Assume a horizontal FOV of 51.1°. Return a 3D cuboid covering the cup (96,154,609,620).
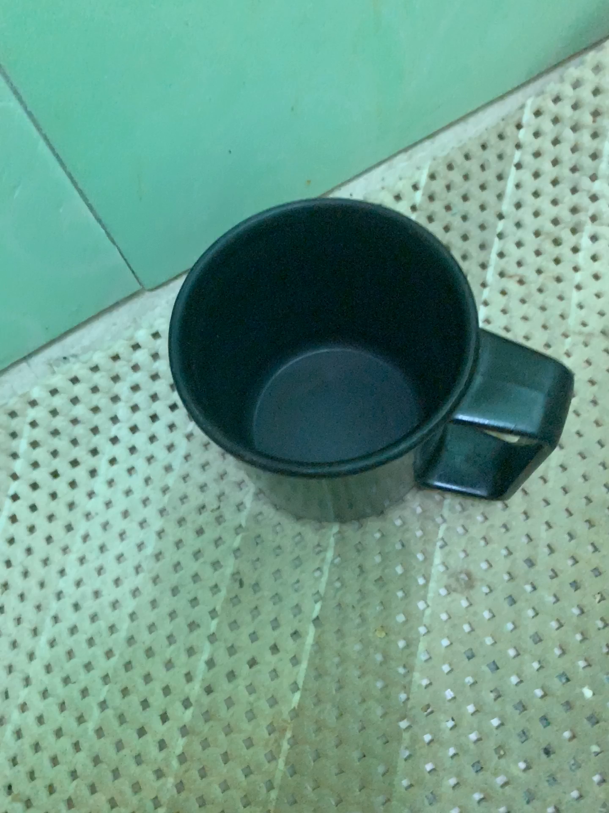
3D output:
[{"bbox_3d":[0.021,-0.002,0.195,0.111,0.082,0.090,18,72,14],"label":"cup"}]
